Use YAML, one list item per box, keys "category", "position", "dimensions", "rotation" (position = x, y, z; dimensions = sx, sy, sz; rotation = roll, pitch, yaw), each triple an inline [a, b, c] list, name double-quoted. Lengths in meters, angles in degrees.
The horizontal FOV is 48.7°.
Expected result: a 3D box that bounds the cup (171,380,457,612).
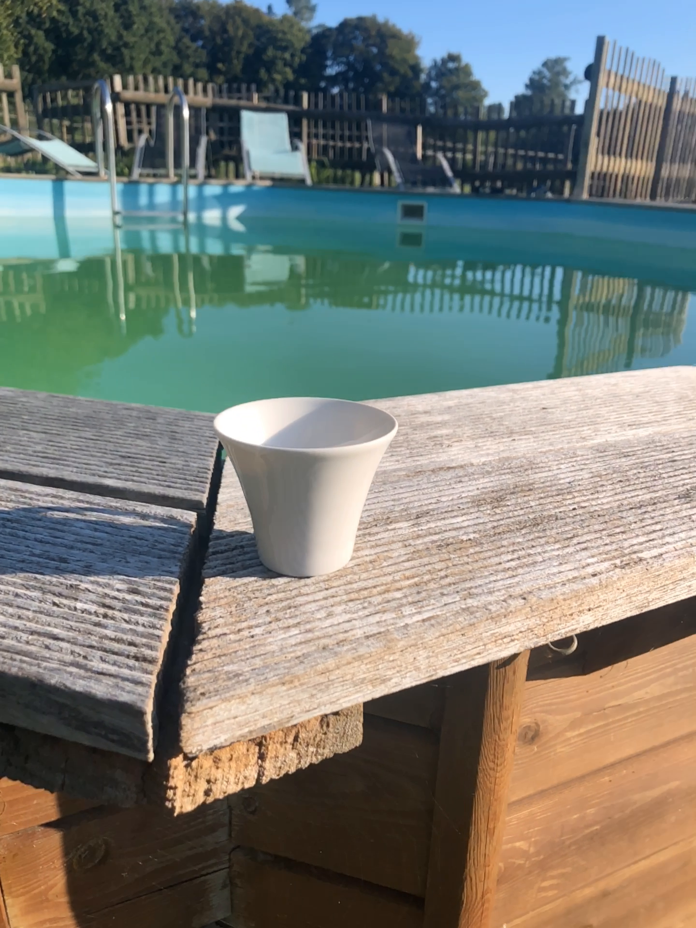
- category: "cup"
  position: [-0.011, 0.006, 0.324]
  dimensions: [0.076, 0.053, 0.097]
  rotation: [14, 24, 28]
